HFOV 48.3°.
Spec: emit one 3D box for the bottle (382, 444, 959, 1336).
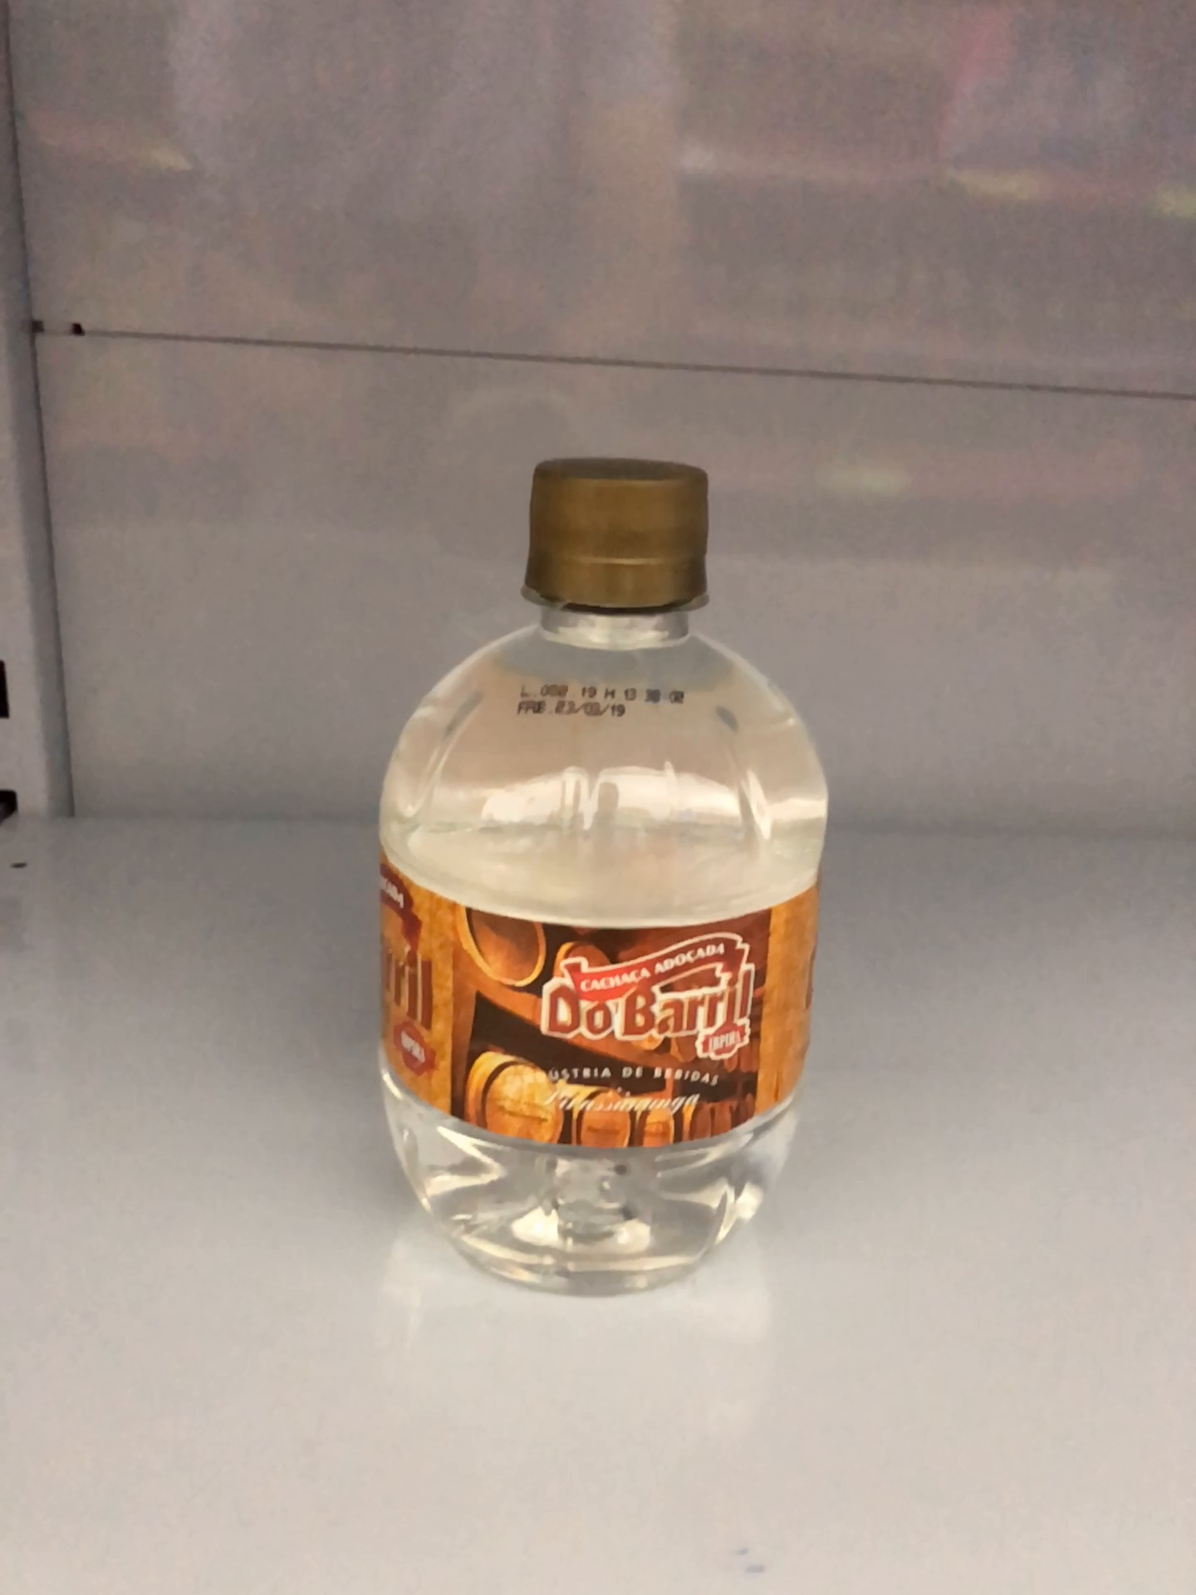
[{"bbox_3d":[0.003,0.011,0.250,0.080,0.139,0.080,3,20,-1],"label":"bottle"}]
